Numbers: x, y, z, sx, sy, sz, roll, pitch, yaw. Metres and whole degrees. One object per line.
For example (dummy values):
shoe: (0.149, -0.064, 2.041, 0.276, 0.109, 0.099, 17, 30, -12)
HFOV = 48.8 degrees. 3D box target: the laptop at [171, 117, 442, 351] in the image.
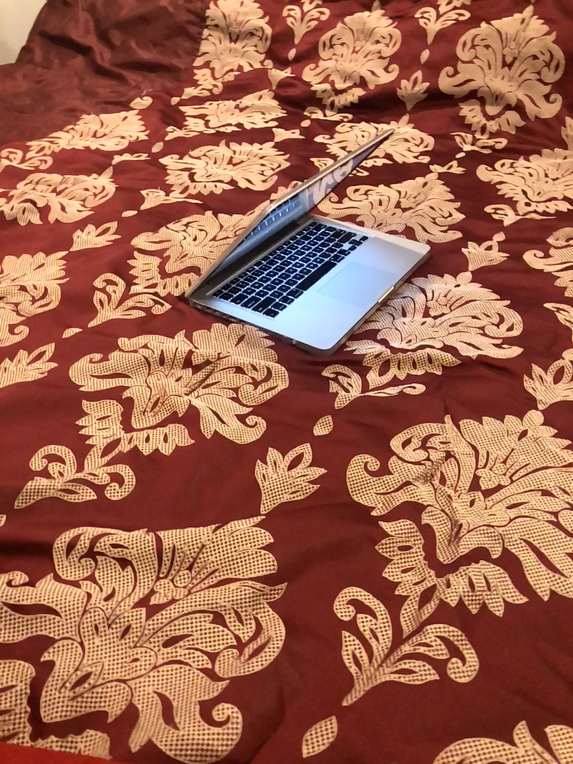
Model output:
laptop: (0.040, -0.215, 0.838, 0.212, 0.156, 0.313, 21, 43, 25)
